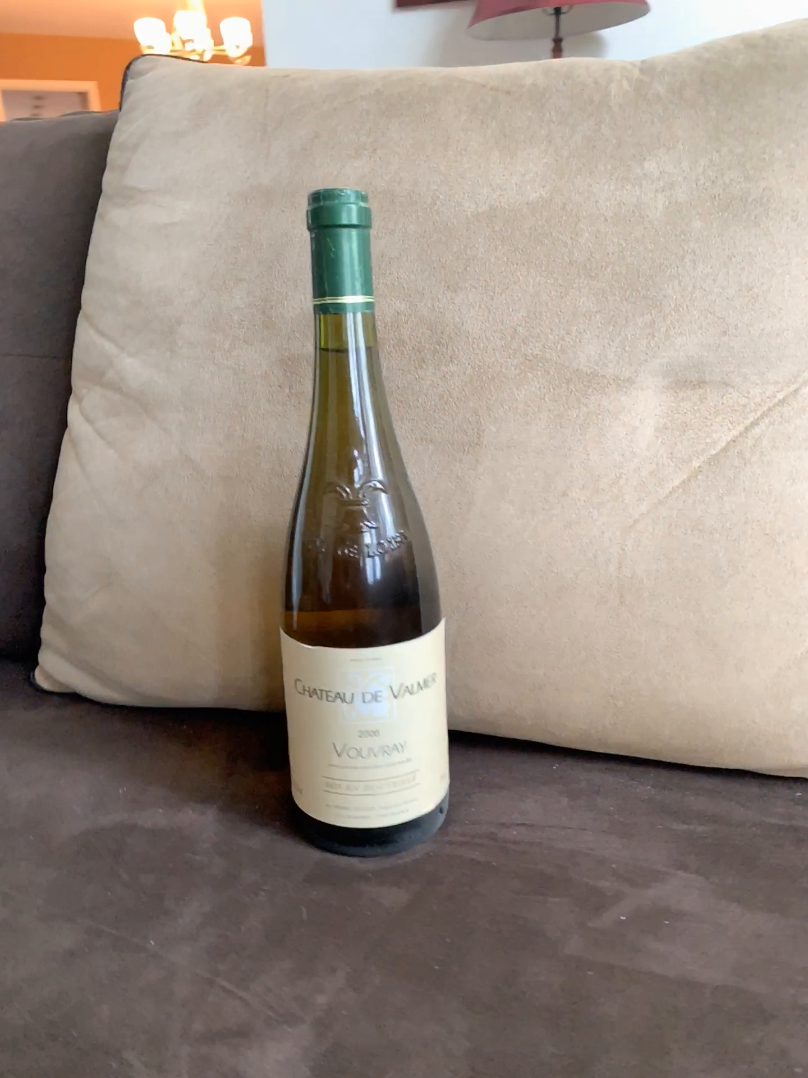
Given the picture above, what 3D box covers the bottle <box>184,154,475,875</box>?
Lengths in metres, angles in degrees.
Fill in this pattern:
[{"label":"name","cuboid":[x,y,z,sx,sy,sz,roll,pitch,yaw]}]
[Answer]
[{"label":"bottle","cuboid":[-0.026,-0.005,0.389,0.100,0.309,0.090,-4,19,-4]}]
